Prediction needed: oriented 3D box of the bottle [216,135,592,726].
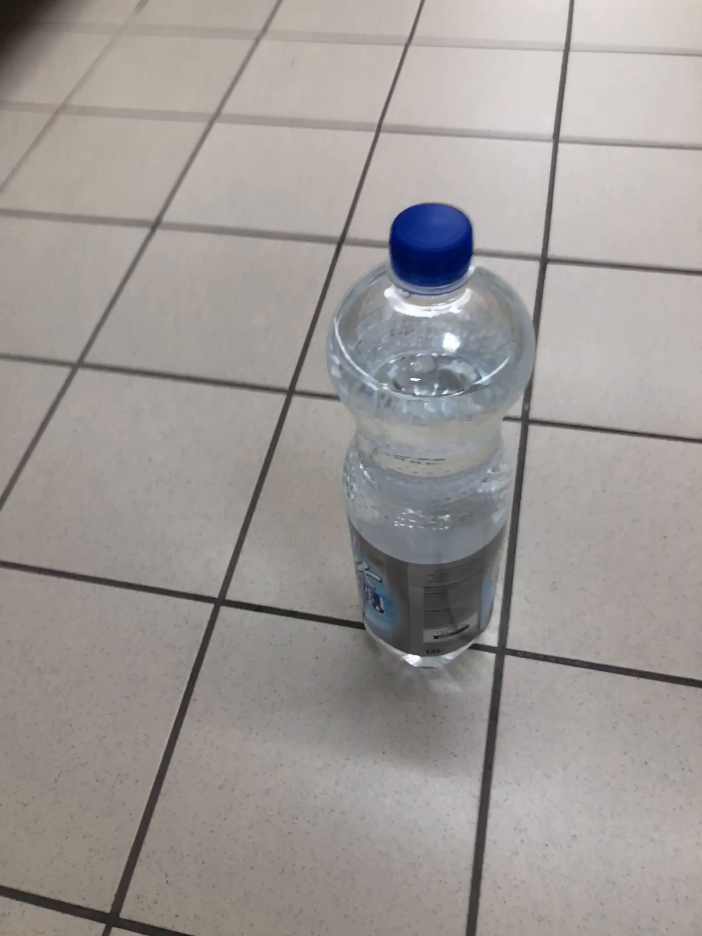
[{"bbox_3d":[0.025,0.016,0.407,0.100,0.328,0.100,-2,54,3],"label":"bottle"}]
